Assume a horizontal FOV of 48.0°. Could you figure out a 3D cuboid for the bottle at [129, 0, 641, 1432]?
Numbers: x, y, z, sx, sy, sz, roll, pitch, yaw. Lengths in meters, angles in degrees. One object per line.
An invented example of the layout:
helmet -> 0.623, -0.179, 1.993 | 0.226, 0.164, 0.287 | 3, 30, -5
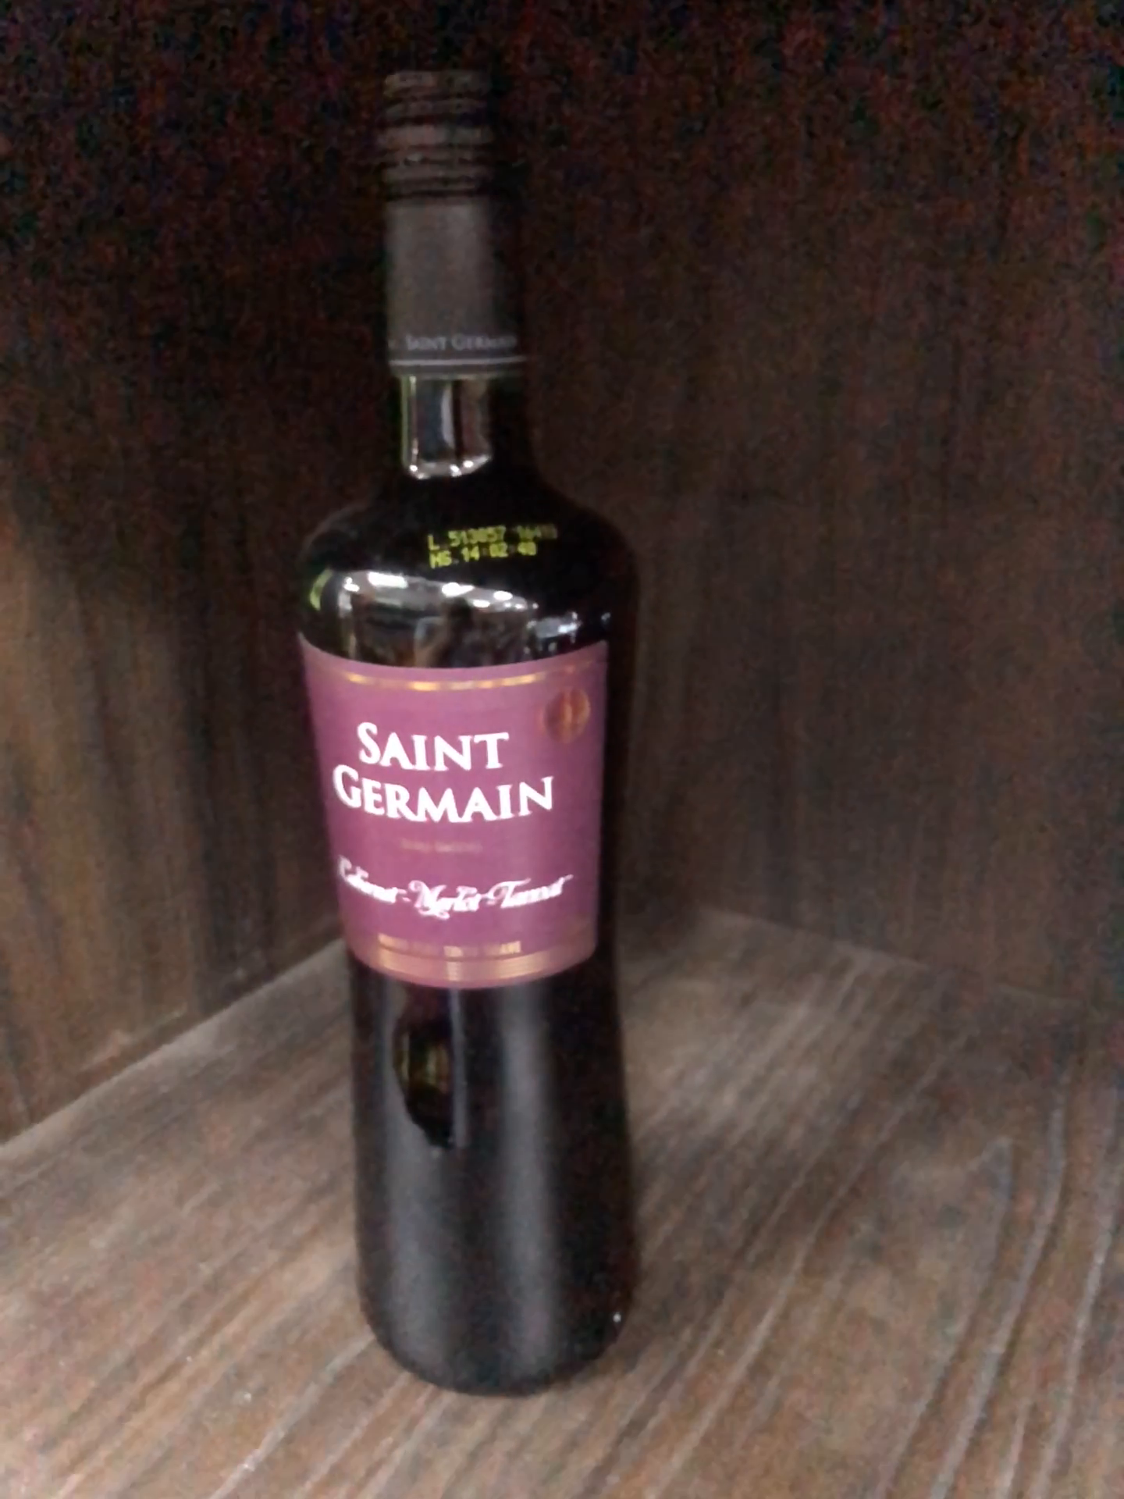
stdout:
bottle -> -0.024, 0.007, 0.287 | 0.080, 0.308, 0.070 | -1, 20, 4
